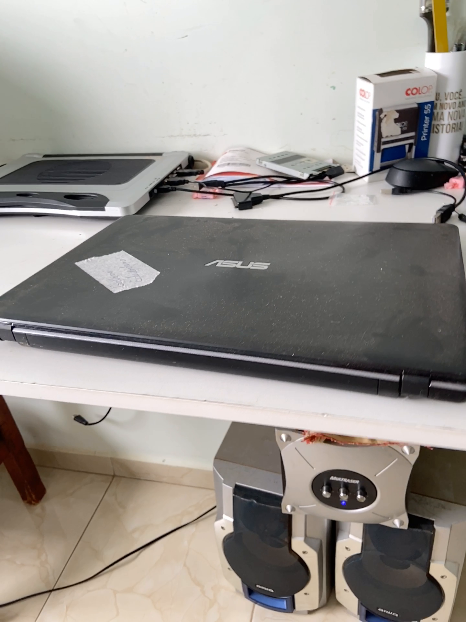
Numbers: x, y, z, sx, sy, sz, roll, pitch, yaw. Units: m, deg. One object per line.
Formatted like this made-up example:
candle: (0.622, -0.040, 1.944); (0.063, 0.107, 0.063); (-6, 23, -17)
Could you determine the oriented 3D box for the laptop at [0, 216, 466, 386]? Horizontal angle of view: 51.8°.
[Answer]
laptop: (0.003, -0.038, 0.447); (0.385, 0.007, 0.252); (5, 32, 19)
